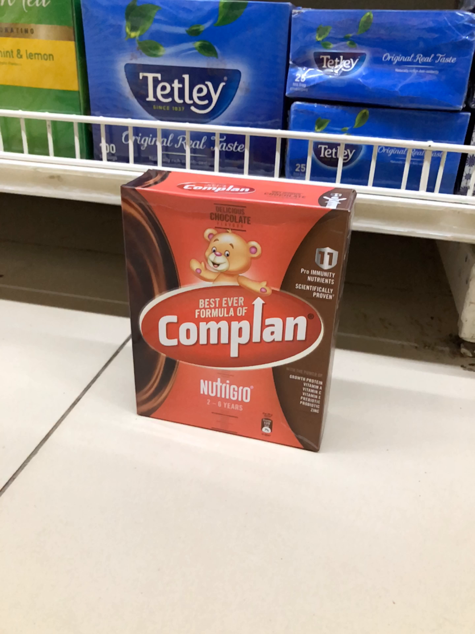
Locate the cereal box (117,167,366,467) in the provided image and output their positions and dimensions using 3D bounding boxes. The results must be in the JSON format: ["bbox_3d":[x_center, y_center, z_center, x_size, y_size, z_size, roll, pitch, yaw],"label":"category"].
[{"bbox_3d":[0.001,0.001,0.355,0.140,0.179,0.050,9,29,13],"label":"cereal box"}]
